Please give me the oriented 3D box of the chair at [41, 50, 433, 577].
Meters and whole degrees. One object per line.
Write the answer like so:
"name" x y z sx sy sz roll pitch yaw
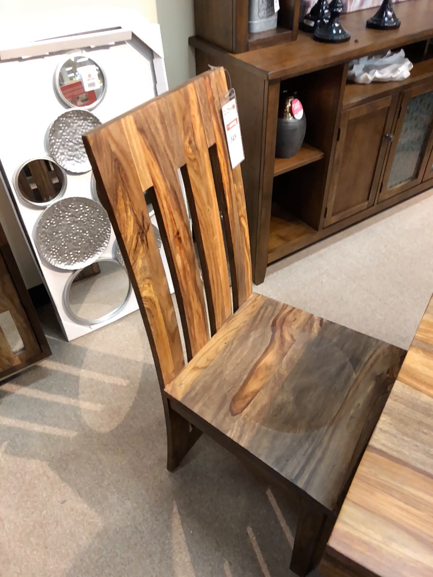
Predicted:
"chair" 0.129 0.117 1.086 0.592 1.023 0.512 25 49 25
